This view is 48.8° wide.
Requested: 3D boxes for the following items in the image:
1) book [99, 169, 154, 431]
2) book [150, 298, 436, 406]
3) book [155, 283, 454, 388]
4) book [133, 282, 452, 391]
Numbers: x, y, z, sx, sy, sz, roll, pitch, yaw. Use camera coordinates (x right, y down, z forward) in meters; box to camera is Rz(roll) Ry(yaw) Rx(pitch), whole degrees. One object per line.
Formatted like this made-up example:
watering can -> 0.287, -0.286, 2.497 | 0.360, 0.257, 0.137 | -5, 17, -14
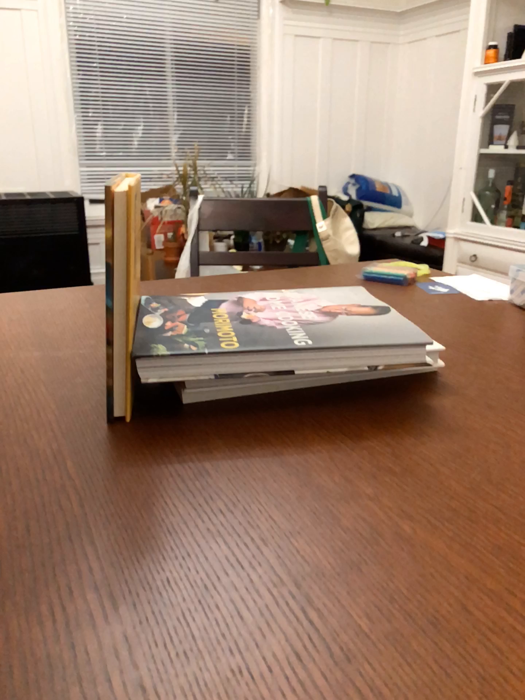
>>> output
book -> -0.128, -0.064, 0.573 | 0.030, 0.209, 0.211 | 0, 20, -8
book -> 0.022, -0.010, 0.691 | 0.280, 0.030, 0.221 | -7, 20, -17
book -> 0.030, -0.029, 0.659 | 0.280, 0.030, 0.221 | -6, 20, -14
book -> 0.013, -0.025, 0.602 | 0.280, 0.030, 0.221 | -4, 19, -10
